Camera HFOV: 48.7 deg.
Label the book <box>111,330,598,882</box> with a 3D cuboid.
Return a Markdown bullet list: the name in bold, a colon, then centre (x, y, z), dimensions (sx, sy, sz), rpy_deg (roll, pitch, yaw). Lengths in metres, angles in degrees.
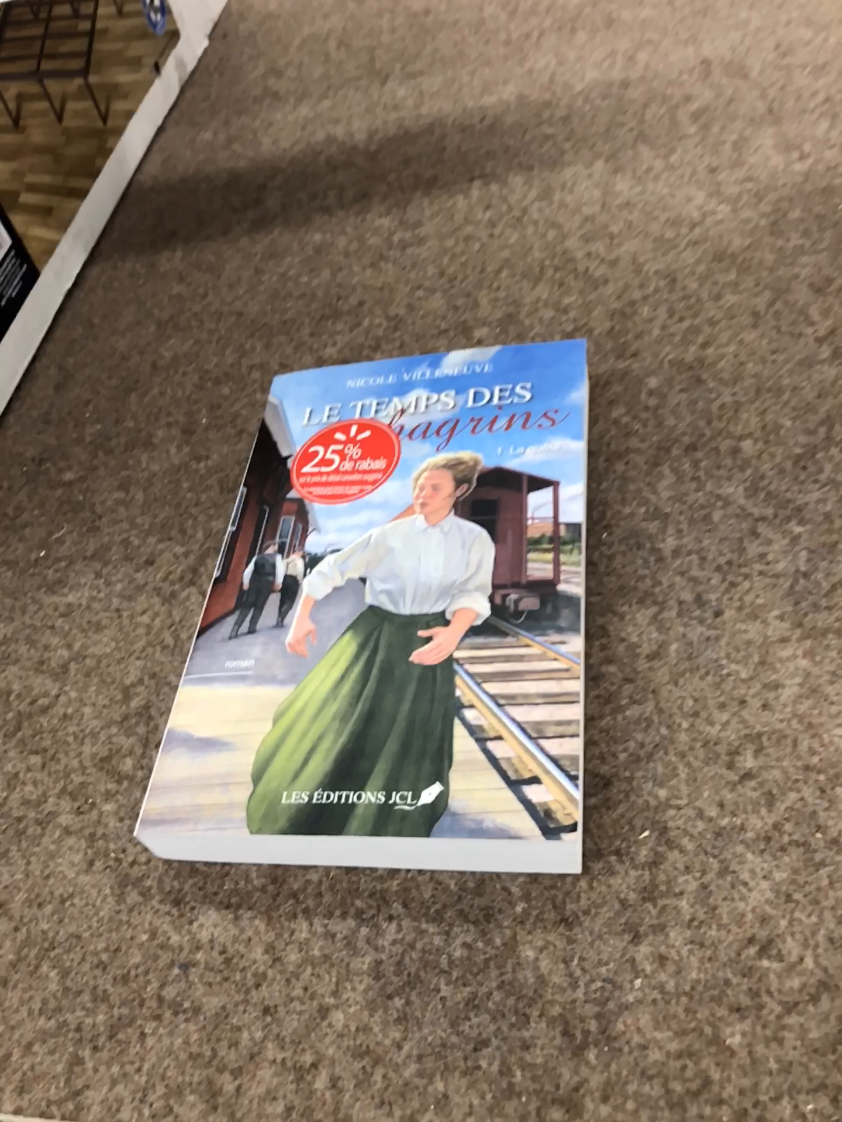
- **book**: centre (-0.012, 0.005, 0.364), dimensions (0.155, 0.030, 0.225), rpy_deg (-4, 53, 16)
